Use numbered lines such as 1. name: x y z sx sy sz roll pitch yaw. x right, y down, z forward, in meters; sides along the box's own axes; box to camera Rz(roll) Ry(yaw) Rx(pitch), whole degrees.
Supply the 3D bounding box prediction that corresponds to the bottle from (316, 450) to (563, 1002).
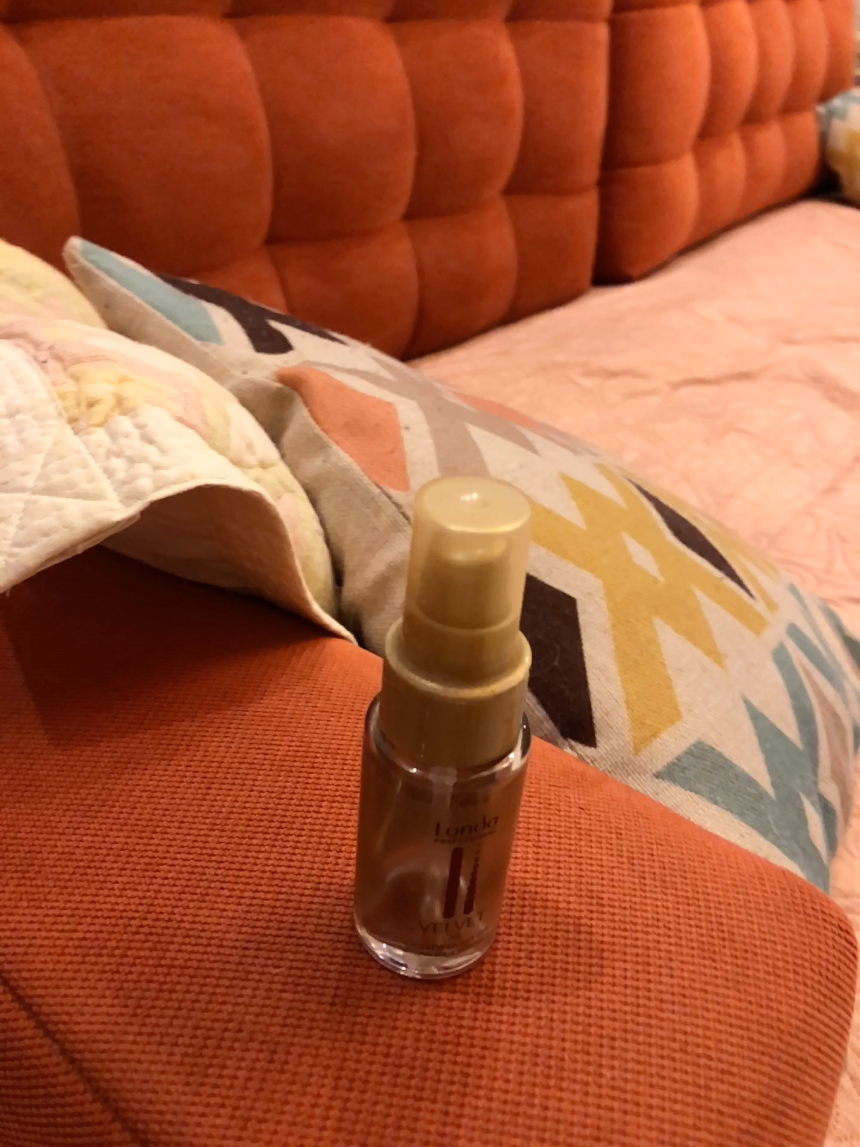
1. bottle: 0.000 0.033 0.190 0.034 0.106 0.033 1 31 0
